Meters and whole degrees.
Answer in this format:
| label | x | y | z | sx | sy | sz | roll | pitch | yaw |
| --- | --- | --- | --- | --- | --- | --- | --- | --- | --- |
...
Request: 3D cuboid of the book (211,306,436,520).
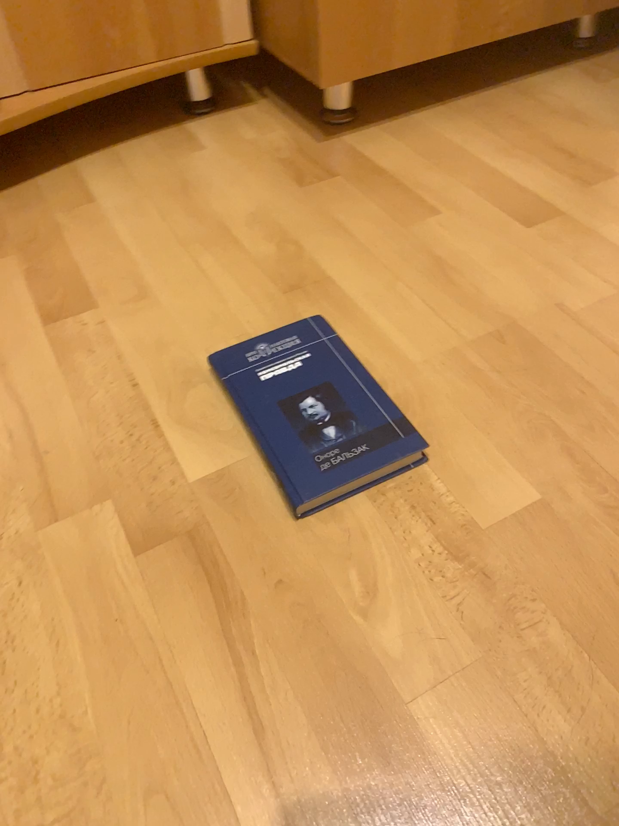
| label | x | y | z | sx | sy | sz | roll | pitch | yaw |
| --- | --- | --- | --- | --- | --- | --- | --- | --- | --- |
| book | 0.006 | -0.011 | 0.594 | 0.128 | 0.030 | 0.201 | -23 | 52 | -15 |
